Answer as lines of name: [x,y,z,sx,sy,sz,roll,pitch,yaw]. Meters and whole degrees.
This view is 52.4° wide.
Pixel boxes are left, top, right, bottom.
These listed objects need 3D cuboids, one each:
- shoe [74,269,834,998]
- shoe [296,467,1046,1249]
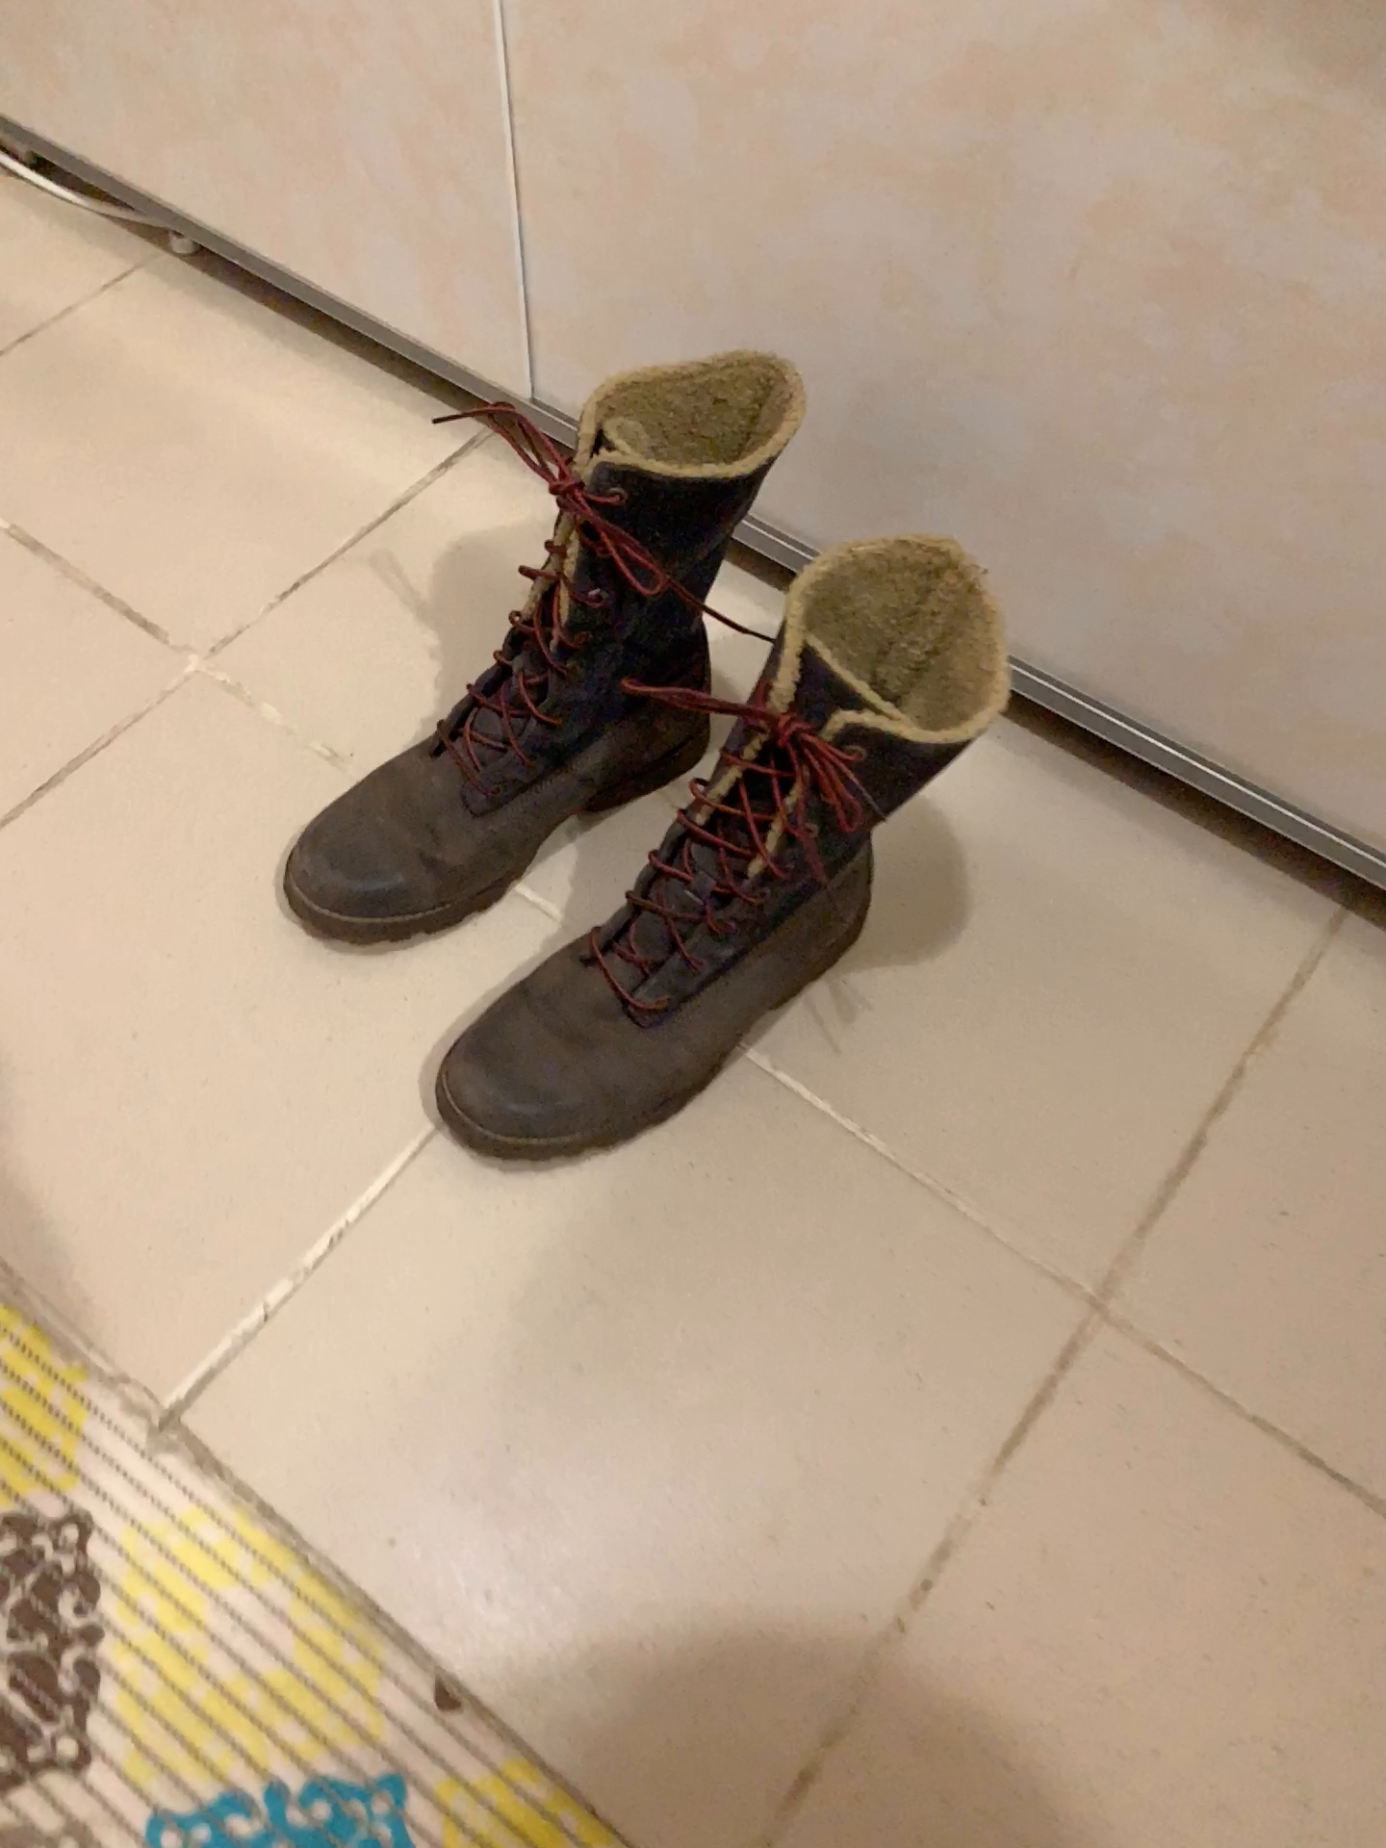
shoe: [-0.096,-0.122,0.660,0.280,0.250,0.100,-30,71,-18]
shoe: [0.003,-0.017,0.636,0.280,0.249,0.100,-36,65,-17]
